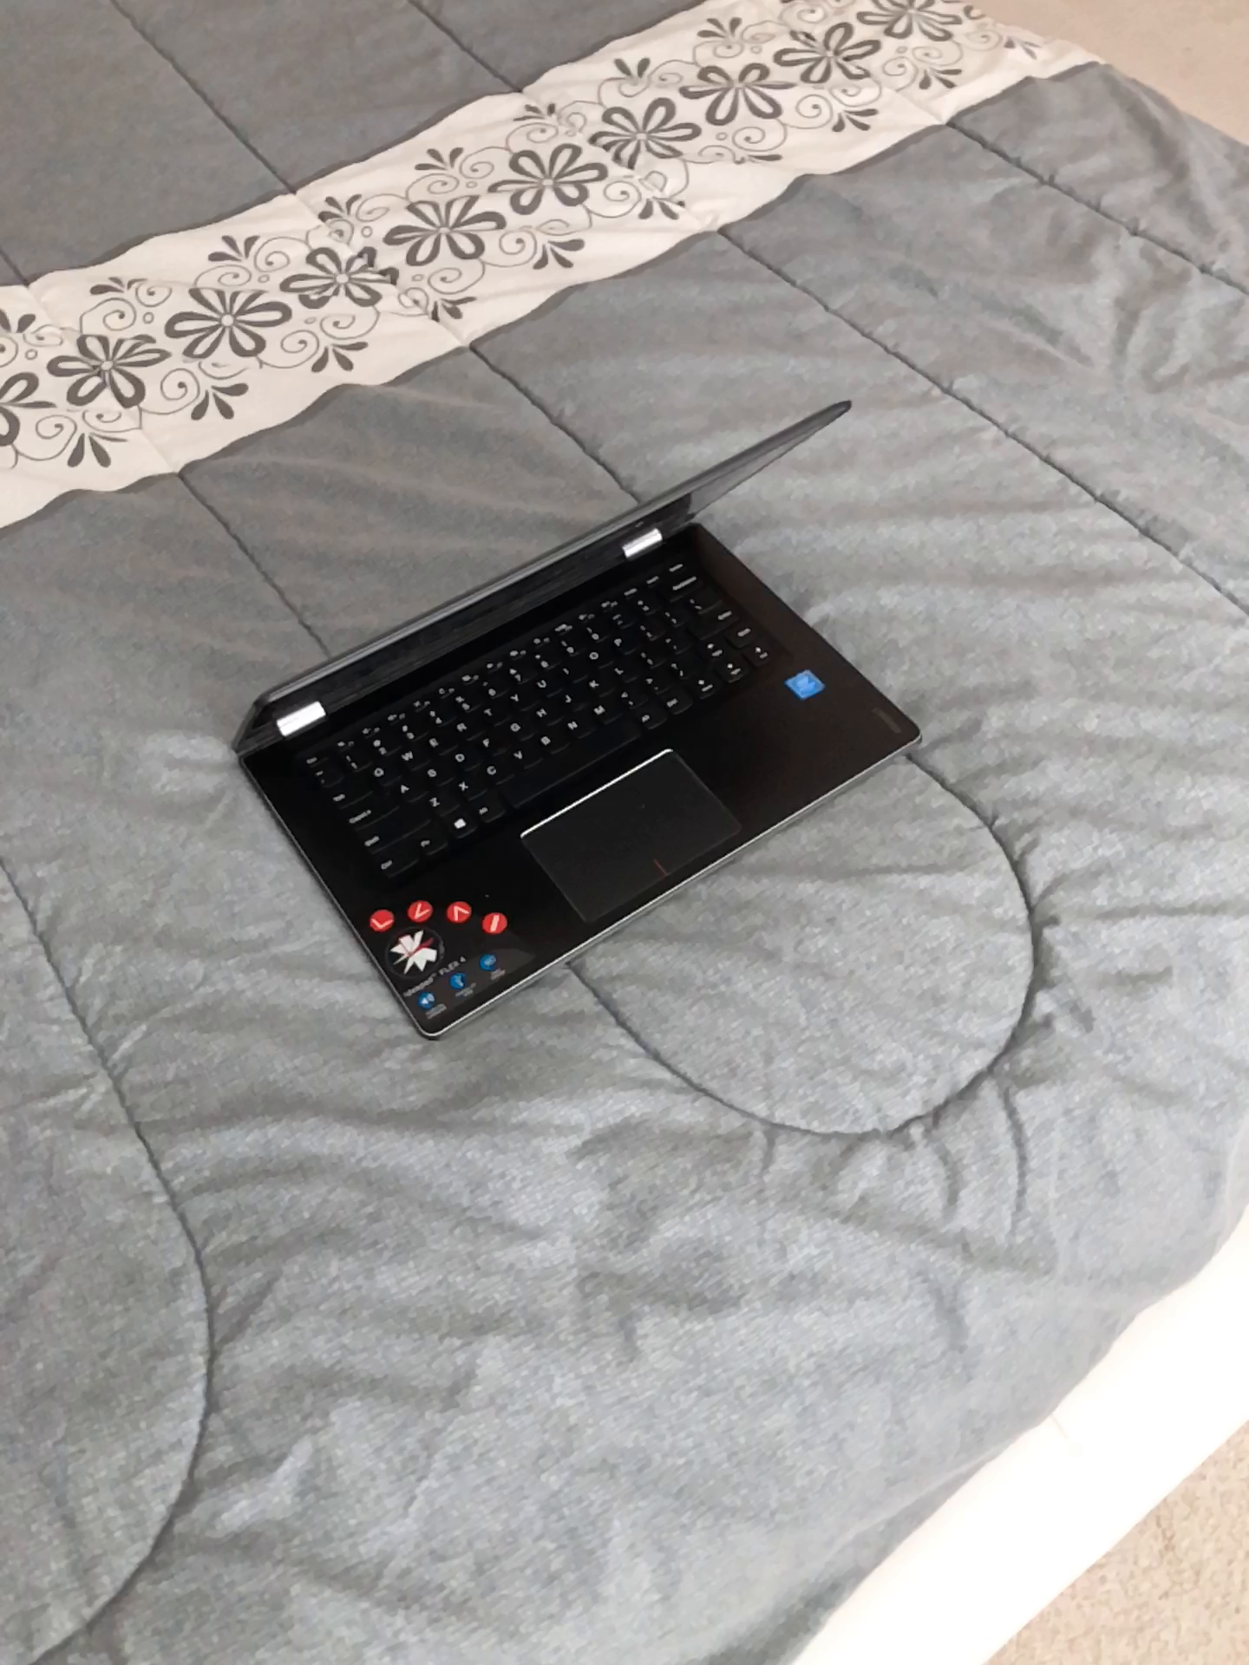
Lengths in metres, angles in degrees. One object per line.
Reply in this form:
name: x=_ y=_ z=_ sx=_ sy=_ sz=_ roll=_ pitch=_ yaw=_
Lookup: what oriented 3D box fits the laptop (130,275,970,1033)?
laptop: x=-0.032 y=-0.096 z=0.677 sx=0.304 sy=0.167 sz=0.215 roll=-30 pitch=59 yaw=-17
